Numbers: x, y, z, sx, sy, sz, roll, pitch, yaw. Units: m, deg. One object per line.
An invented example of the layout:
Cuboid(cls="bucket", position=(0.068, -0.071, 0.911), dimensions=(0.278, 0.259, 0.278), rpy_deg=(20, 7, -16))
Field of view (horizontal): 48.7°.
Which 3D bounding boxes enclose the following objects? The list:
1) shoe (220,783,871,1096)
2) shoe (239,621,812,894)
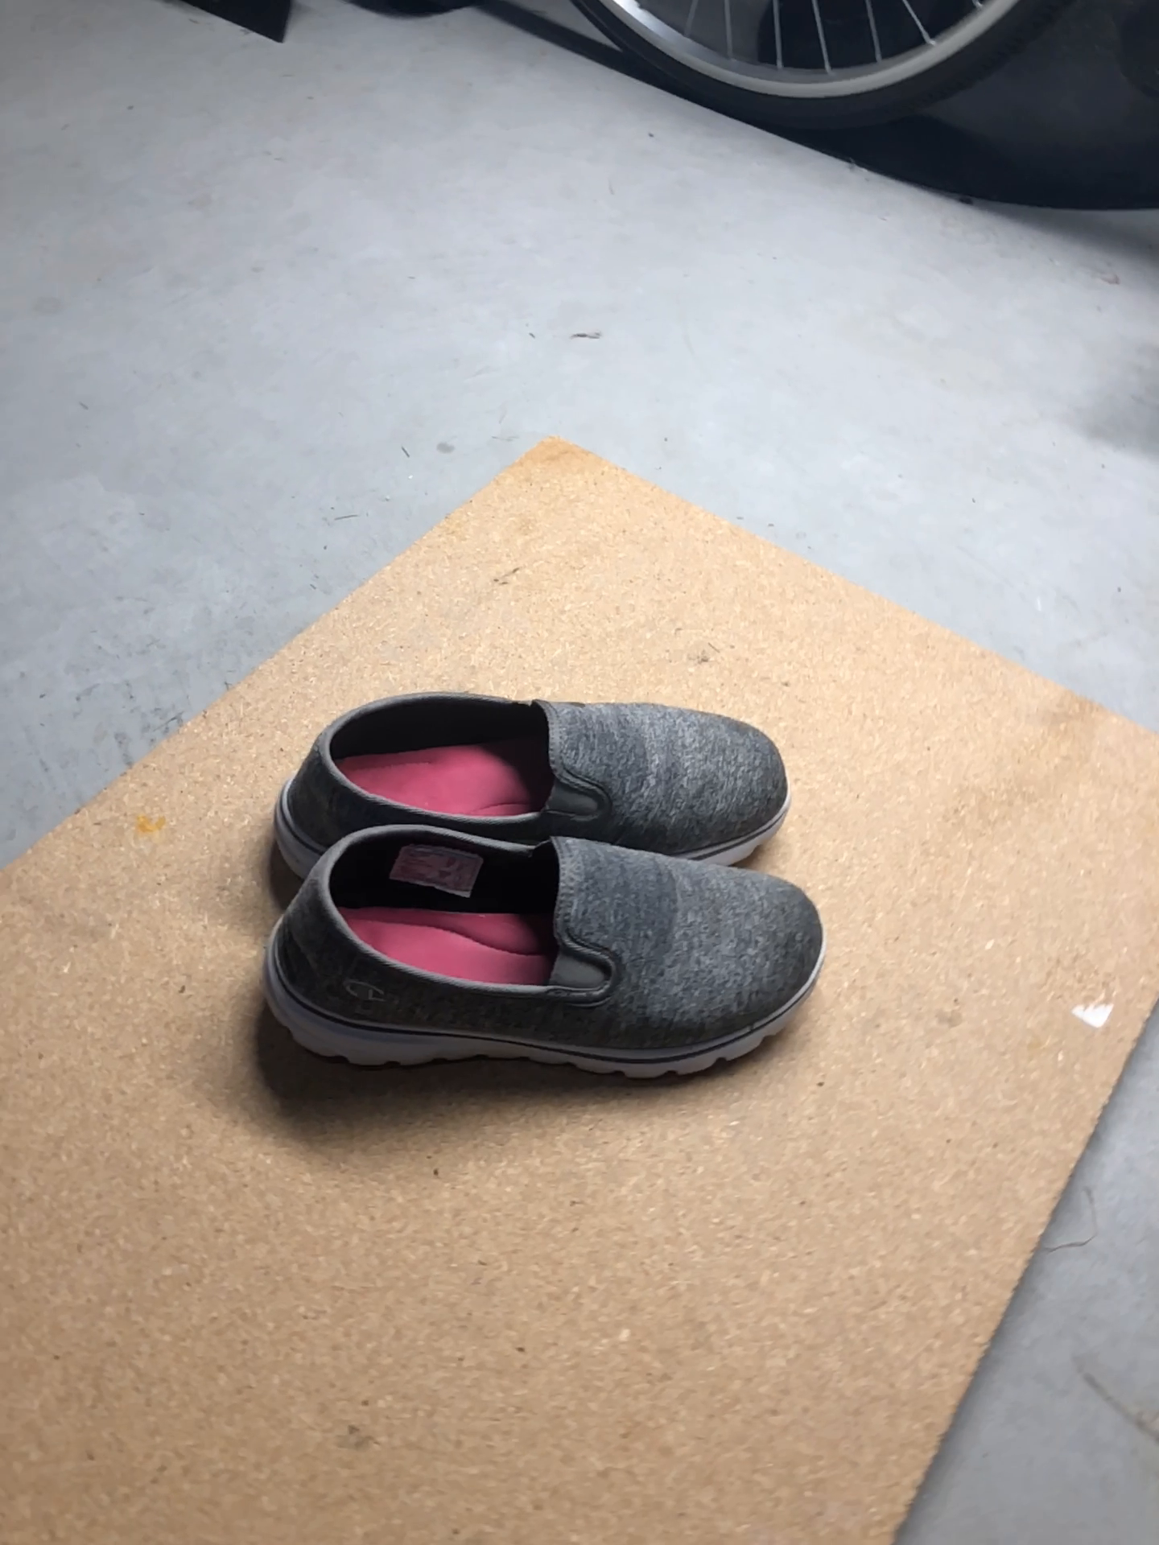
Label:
Cuboid(cls="shoe", position=(-0.016, 0.070, 0.548), dimensions=(0.250, 0.070, 0.100), rpy_deg=(-2, 51, -6))
Cuboid(cls="shoe", position=(-0.027, -0.009, 0.616), dimensions=(0.250, 0.073, 0.100), rpy_deg=(-2, 51, -6))
